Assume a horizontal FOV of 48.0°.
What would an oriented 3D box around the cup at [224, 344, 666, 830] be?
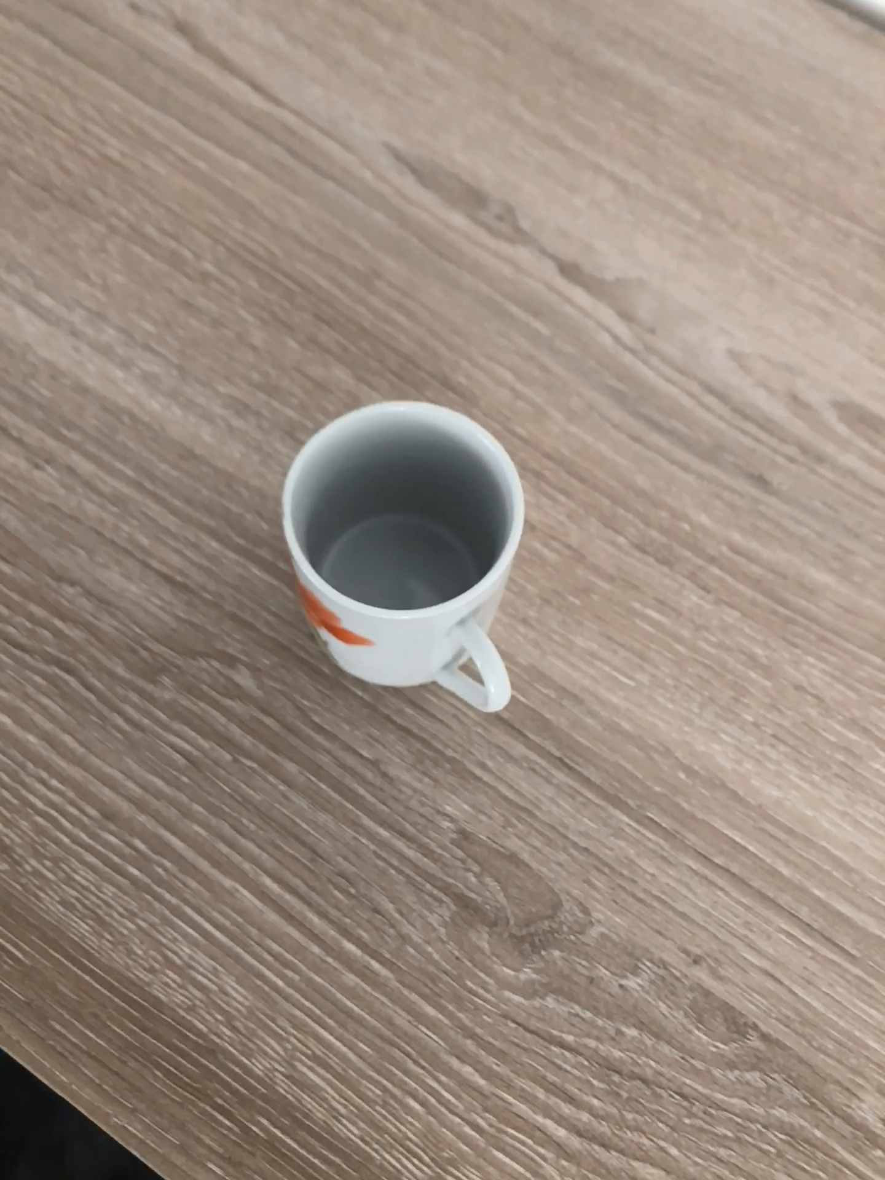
[{"bbox_3d":[-0.002,0.001,0.233,0.060,0.060,0.080,-27,72,-14],"label":"cup"}]
